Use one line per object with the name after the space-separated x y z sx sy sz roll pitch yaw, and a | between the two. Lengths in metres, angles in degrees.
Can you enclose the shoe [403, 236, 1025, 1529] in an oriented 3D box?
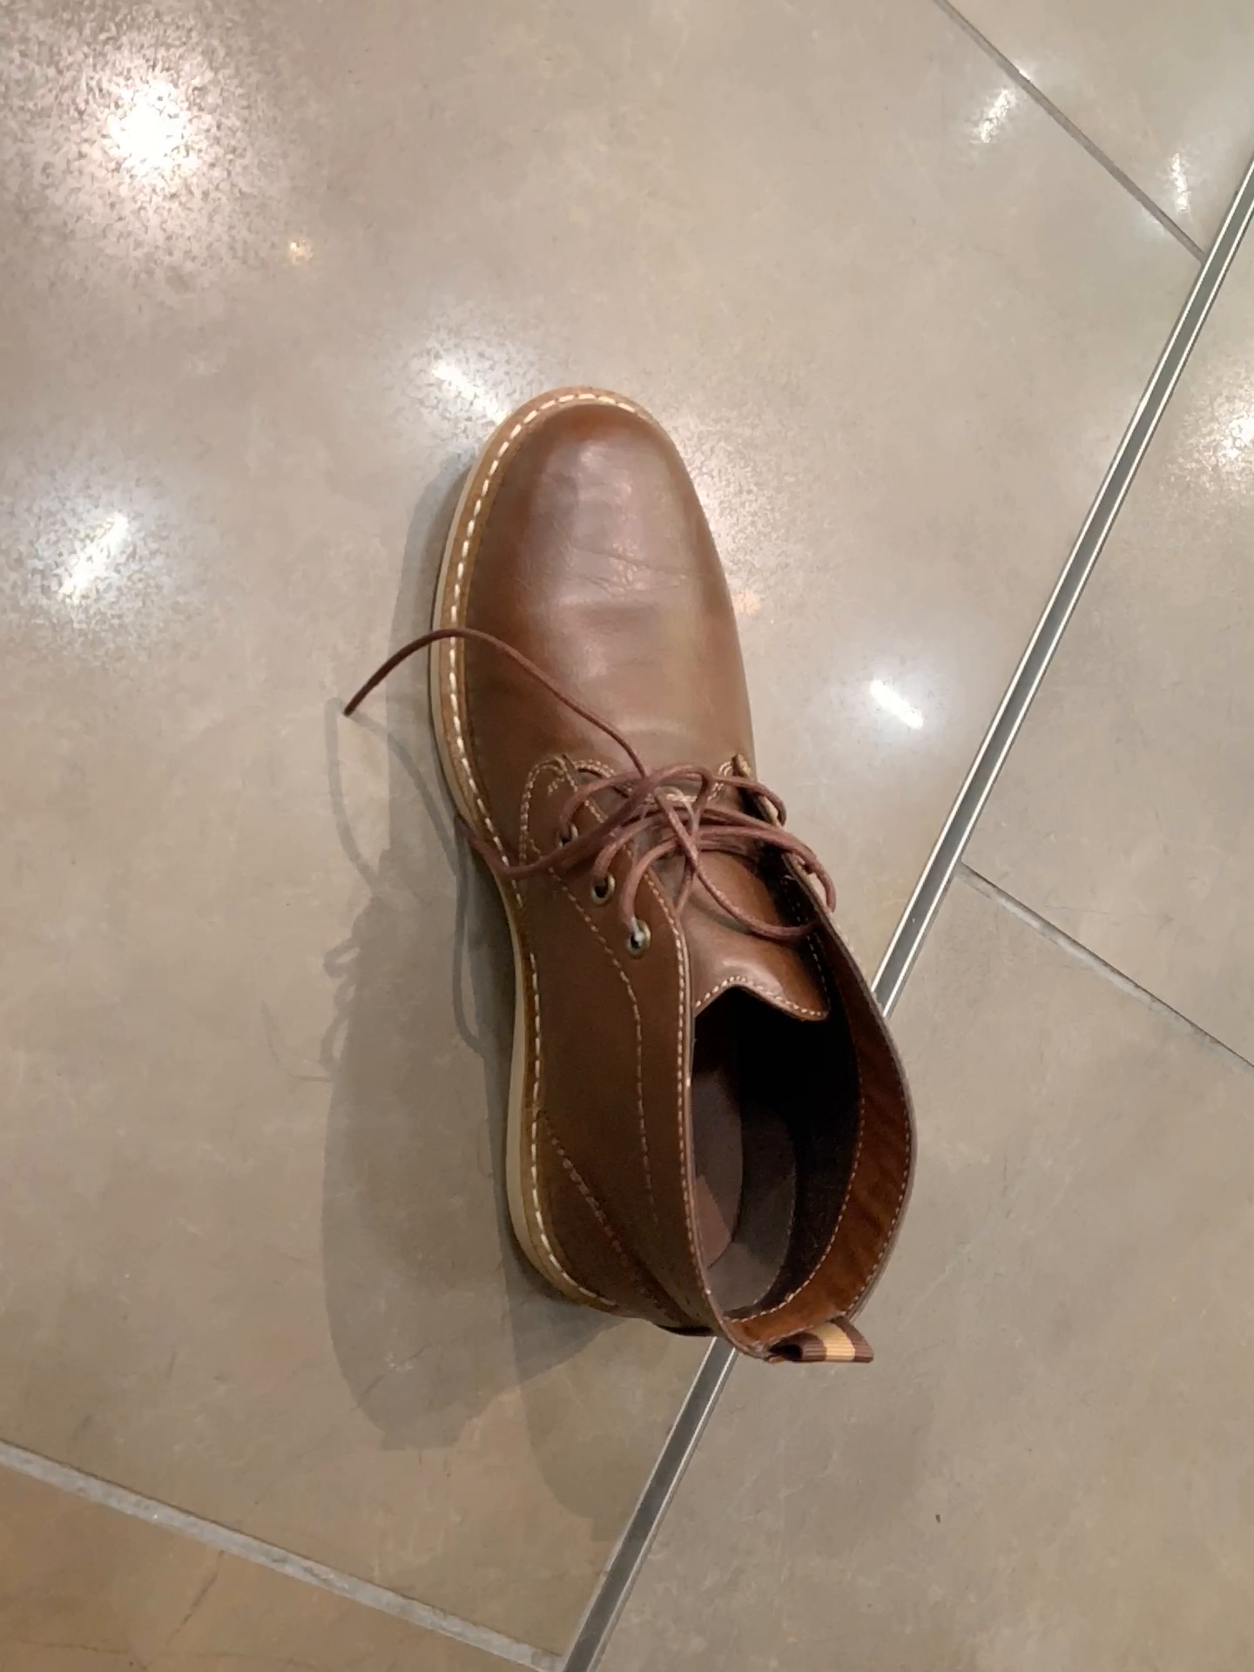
0.016 0.008 0.367 0.107 0.120 0.294 -5 88 -23 | shoe
